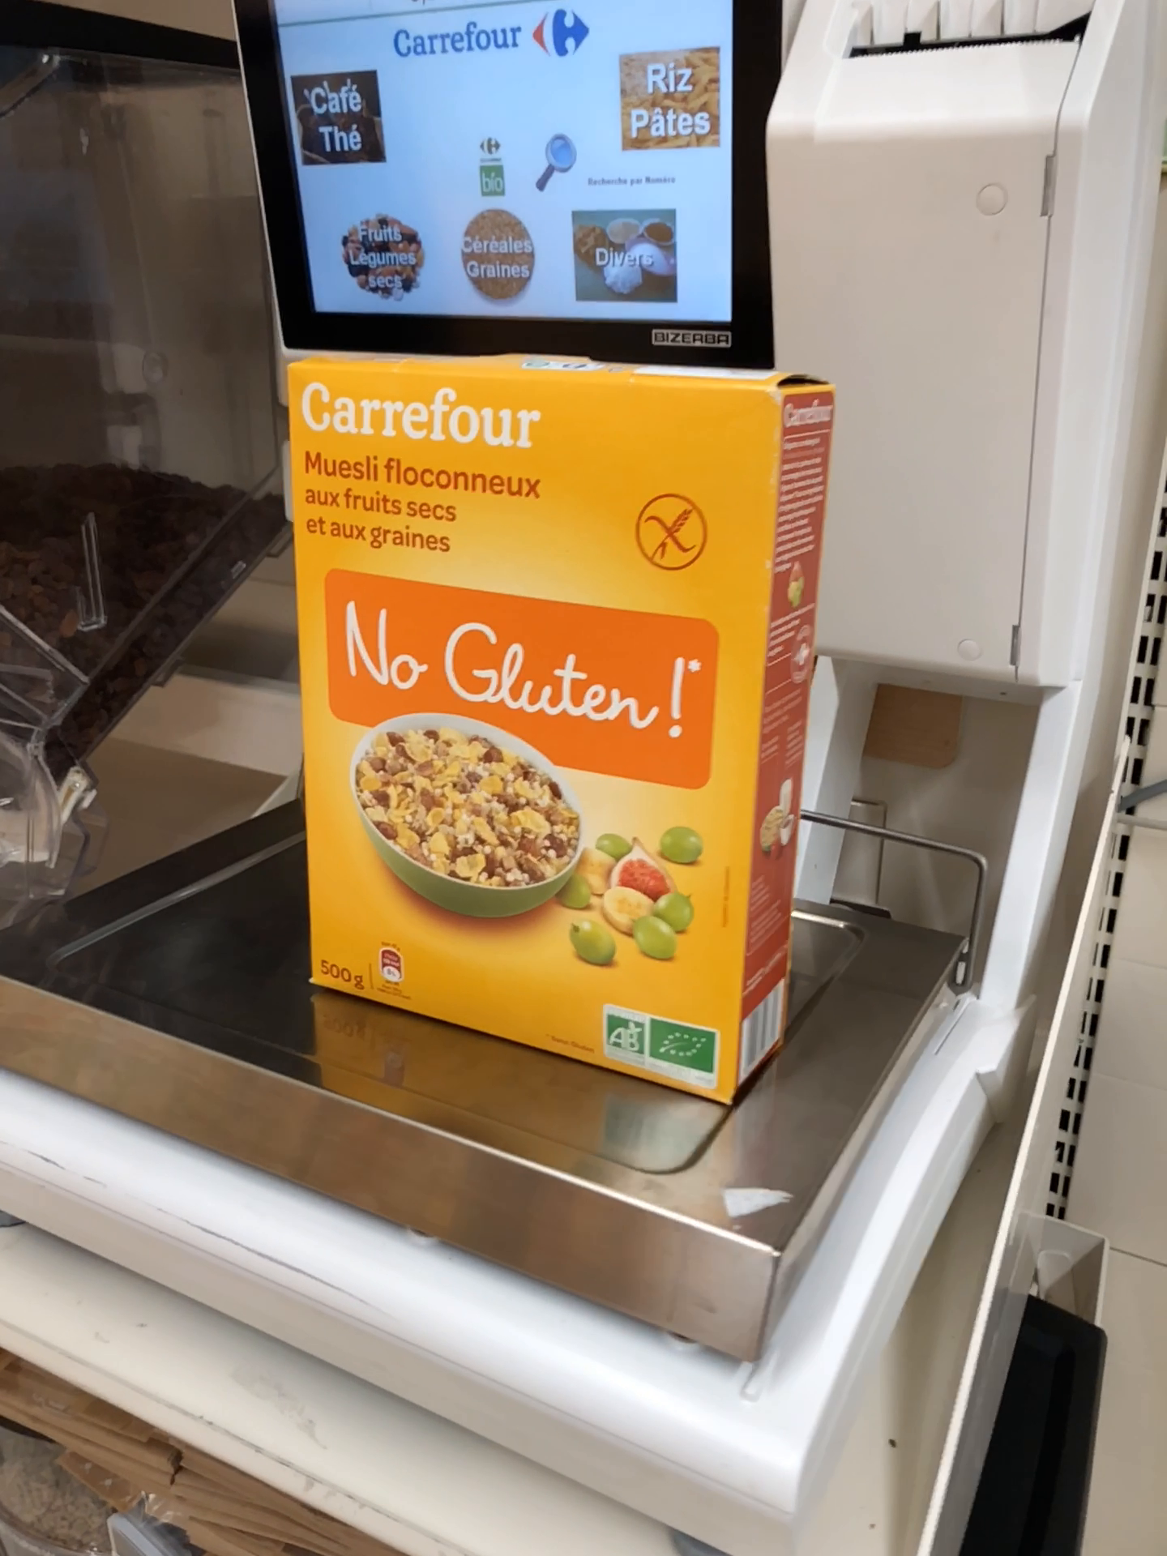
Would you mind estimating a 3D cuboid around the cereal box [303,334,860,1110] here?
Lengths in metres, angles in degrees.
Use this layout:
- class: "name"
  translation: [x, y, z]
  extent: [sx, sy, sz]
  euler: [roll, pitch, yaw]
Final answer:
- class: "cereal box"
  translation: [-0.008, -0.027, 0.482]
  extent: [0.190, 0.259, 0.050]
  euler: [11, 21, 26]
